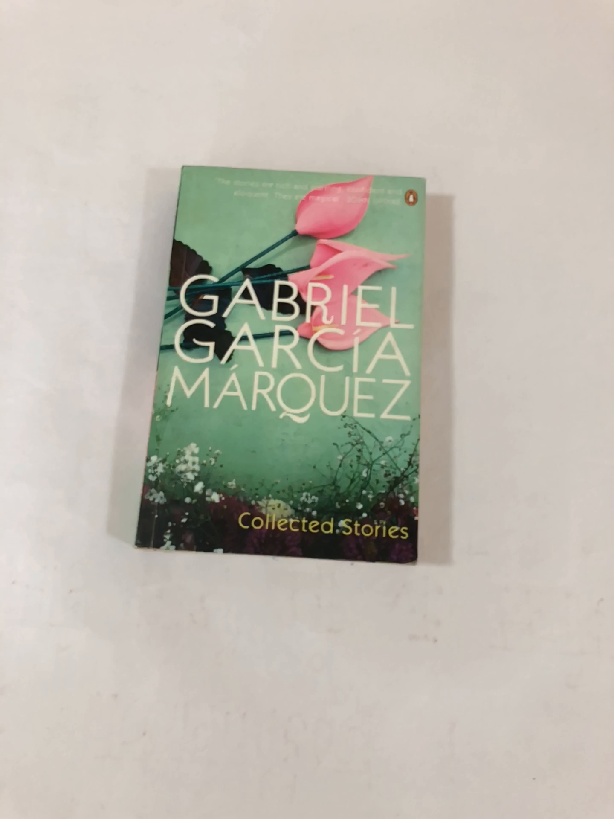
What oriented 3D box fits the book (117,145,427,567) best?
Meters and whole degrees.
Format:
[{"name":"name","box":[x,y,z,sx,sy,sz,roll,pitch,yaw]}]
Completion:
[{"name":"book","box":[-0.010,-0.031,0.336,0.130,0.030,0.200,3,74,1]}]
